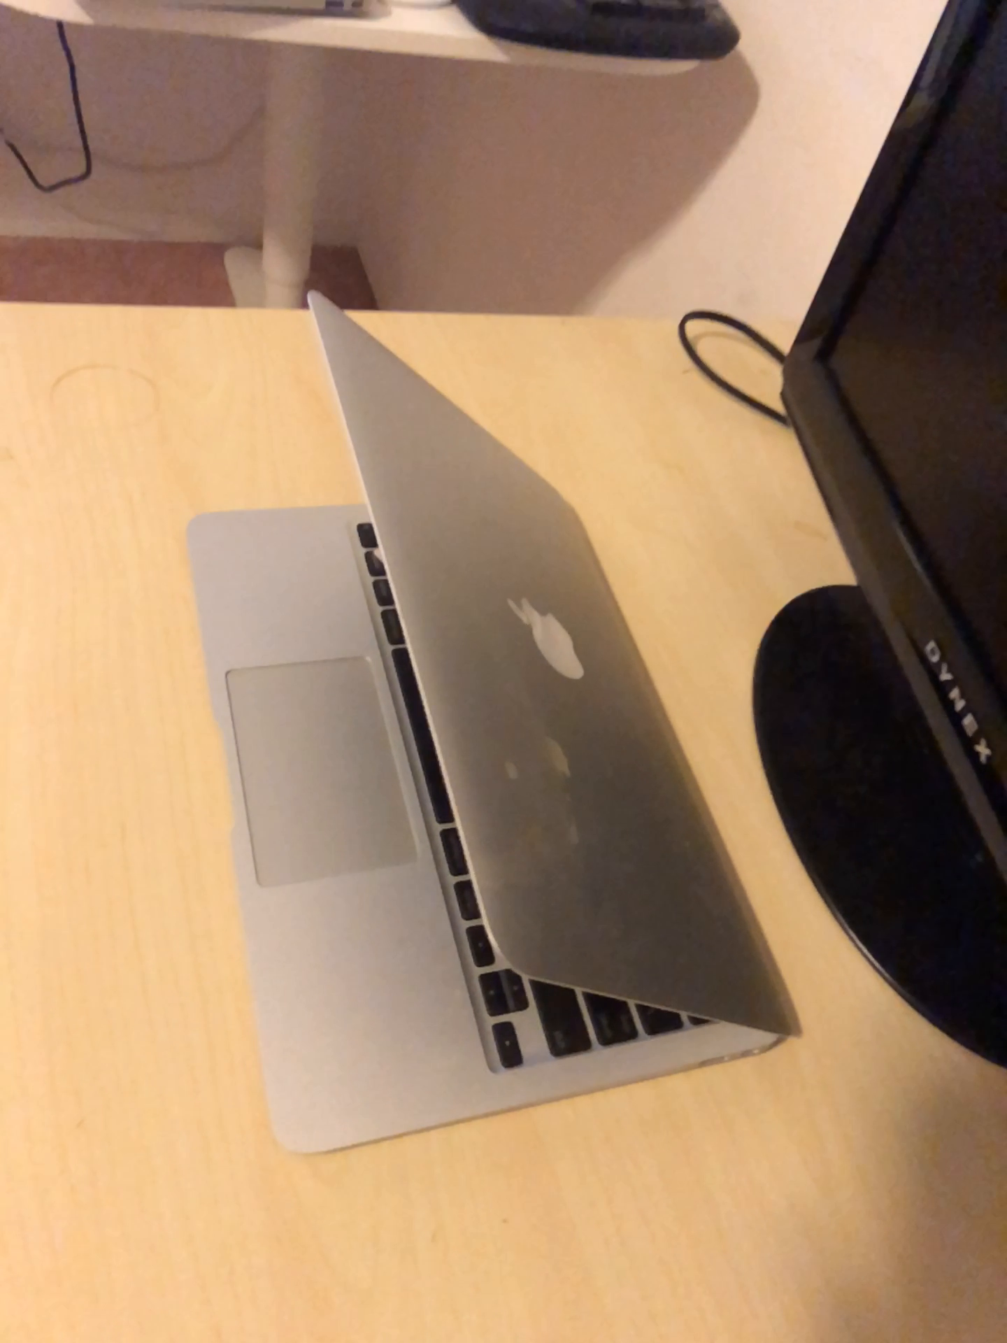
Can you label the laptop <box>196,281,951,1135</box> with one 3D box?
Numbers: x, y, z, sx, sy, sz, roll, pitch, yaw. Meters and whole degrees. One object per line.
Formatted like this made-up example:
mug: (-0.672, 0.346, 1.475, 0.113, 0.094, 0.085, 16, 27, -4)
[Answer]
laptop: (-0.006, -0.008, 0.424, 0.189, 0.127, 0.288, -4, 52, -19)
